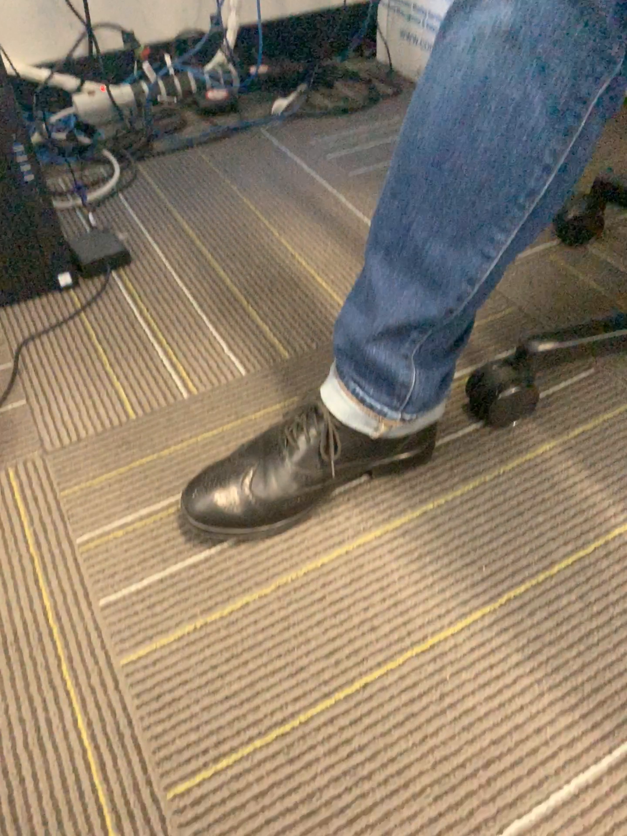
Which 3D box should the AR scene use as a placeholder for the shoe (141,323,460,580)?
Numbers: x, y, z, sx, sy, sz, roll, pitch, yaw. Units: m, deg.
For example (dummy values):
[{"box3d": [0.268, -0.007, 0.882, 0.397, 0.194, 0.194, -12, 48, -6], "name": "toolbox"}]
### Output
[{"box3d": [-0.008, 0.025, 0.627, 0.274, 0.104, 0.112, -24, 51, -18], "name": "shoe"}]
